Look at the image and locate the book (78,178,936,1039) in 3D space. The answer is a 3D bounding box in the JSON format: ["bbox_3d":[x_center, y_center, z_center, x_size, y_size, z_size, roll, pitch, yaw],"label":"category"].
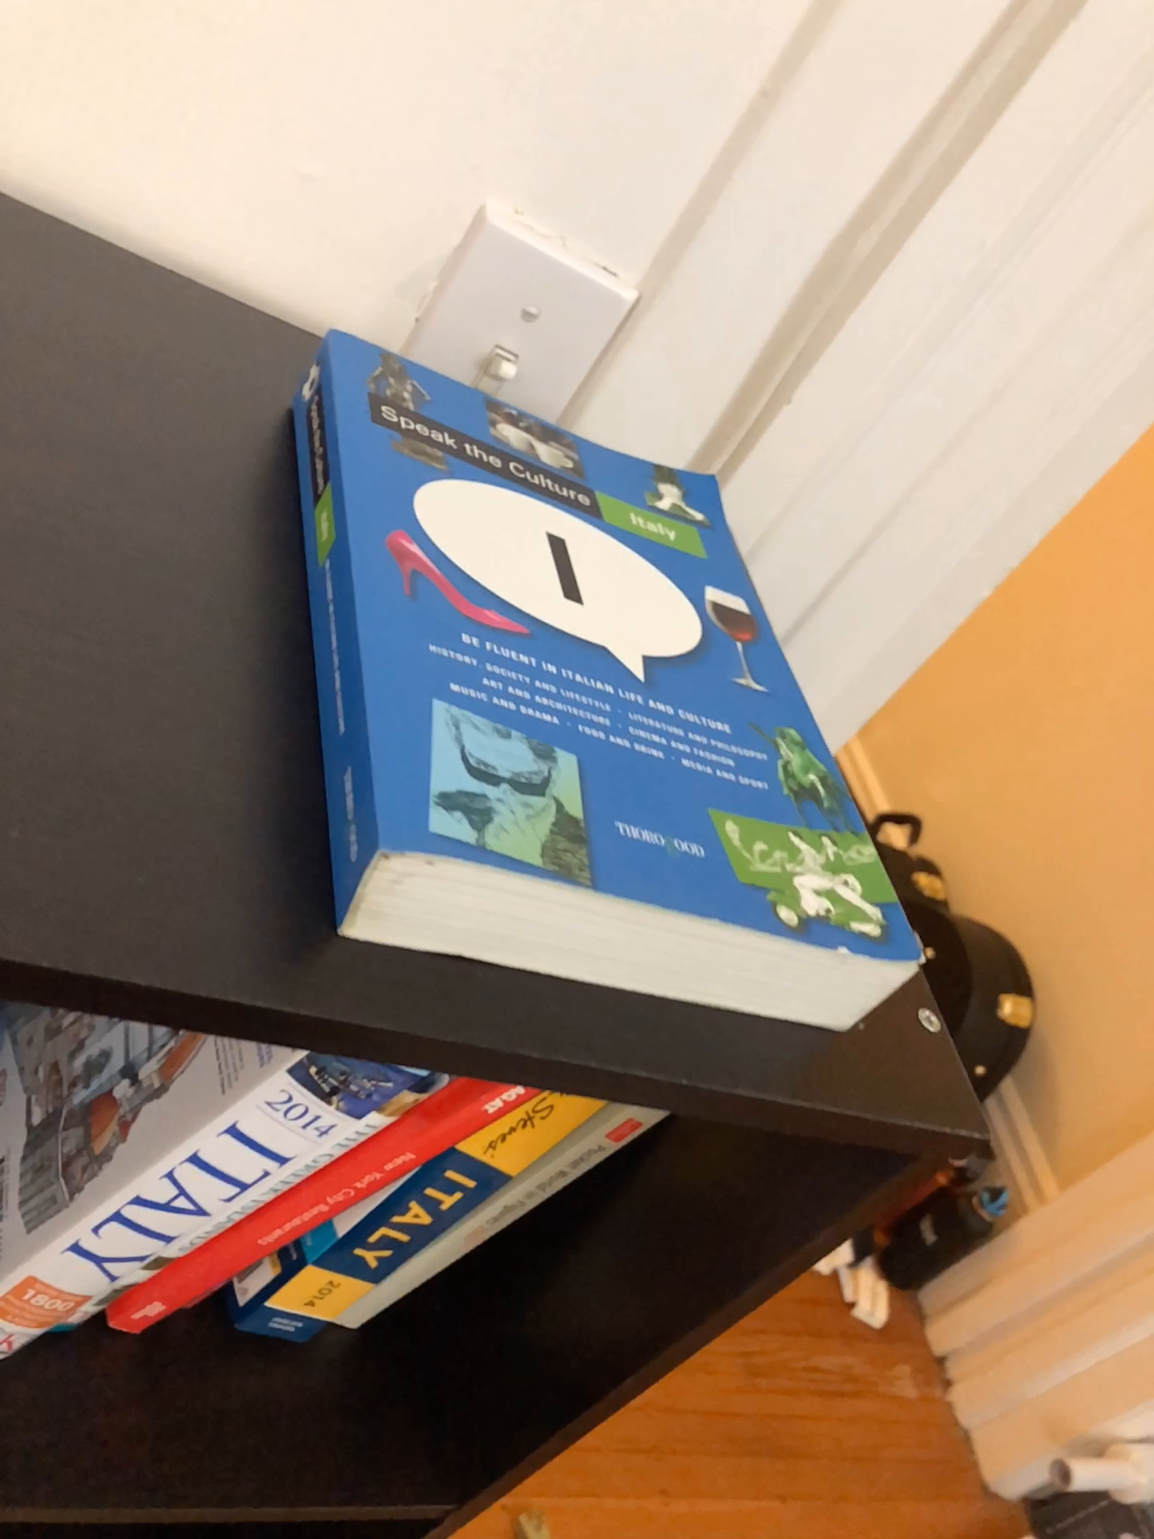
[{"bbox_3d":[-0.027,-0.056,0.366,0.200,0.030,0.261,16,40,-30],"label":"book"}]
